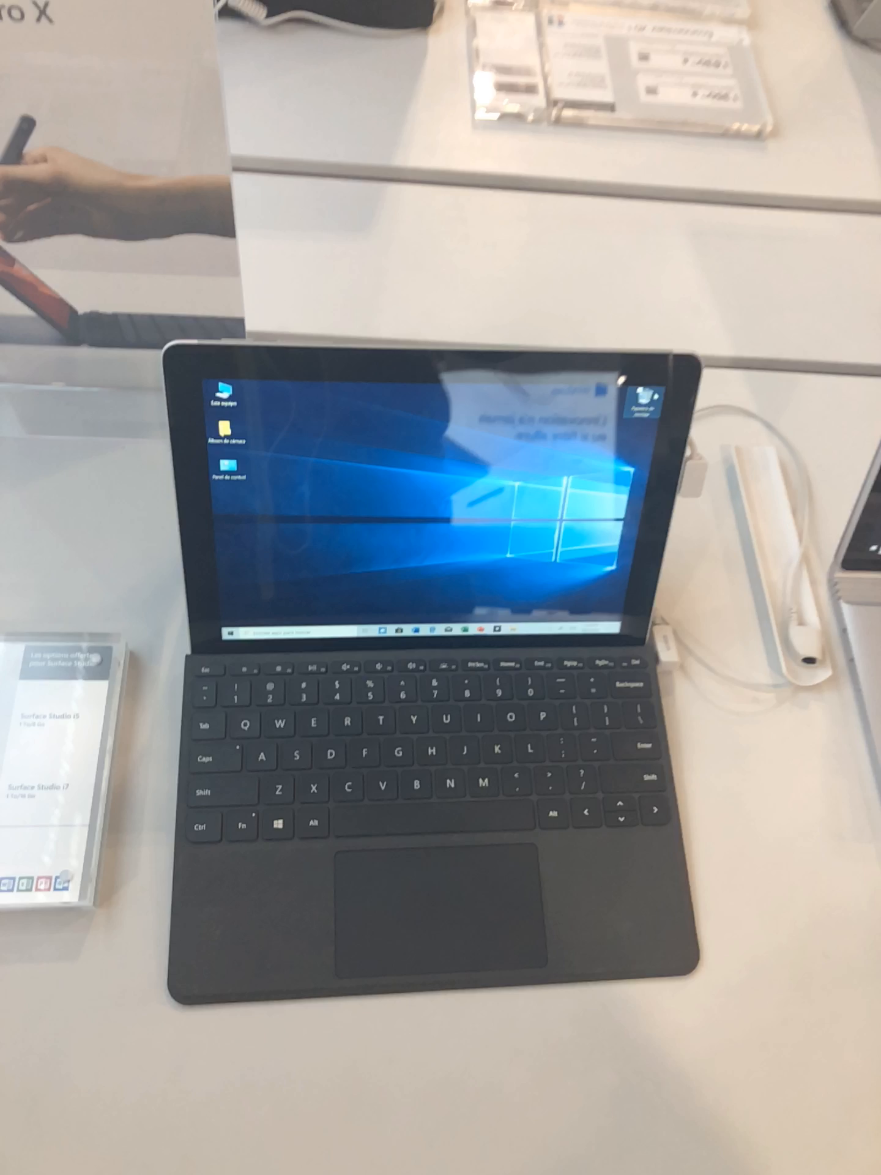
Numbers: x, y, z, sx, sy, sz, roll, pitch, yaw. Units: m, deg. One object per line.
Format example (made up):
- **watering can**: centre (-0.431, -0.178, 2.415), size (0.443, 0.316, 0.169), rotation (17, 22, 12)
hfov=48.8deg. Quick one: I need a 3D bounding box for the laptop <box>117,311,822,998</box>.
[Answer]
- **laptop**: centre (-0.002, 0.031, 0.433), size (0.236, 0.140, 0.251), rotation (-1, 64, -9)
